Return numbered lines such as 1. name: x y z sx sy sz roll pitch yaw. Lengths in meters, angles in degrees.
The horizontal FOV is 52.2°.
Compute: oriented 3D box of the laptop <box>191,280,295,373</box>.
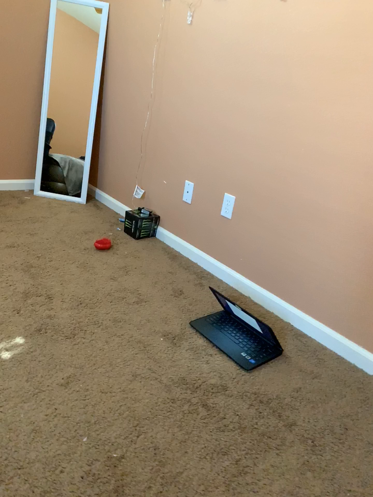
1. laptop: 0.192 0.258 1.343 0.192 0.140 0.293 -10 30 -40
